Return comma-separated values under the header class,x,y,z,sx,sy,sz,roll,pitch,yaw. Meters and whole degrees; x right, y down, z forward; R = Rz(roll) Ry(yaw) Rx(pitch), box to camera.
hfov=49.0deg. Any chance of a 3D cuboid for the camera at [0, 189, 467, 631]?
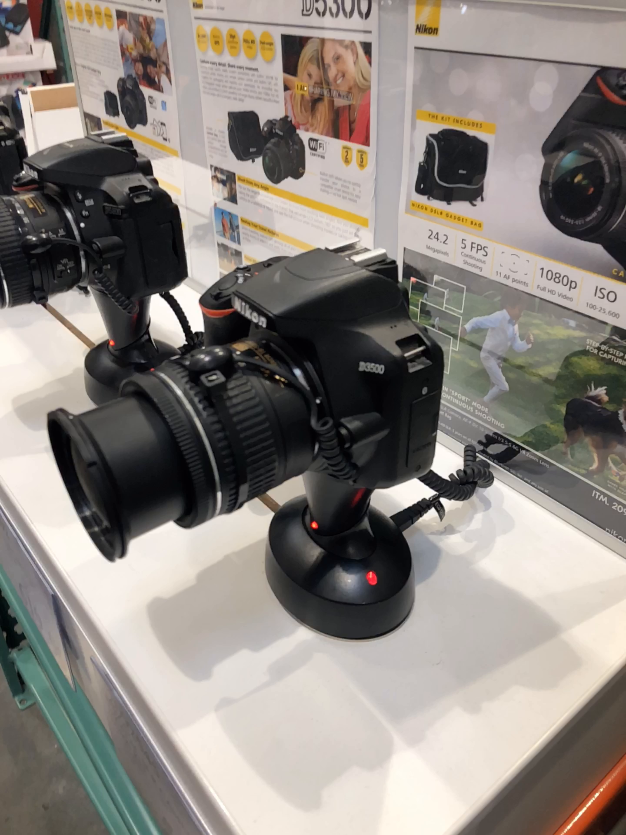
class,x,y,z,sx,sy,sz,roll,pitch,yaw
camera,-0.040,-0.020,0.280,0.140,0.089,0.131,-24,41,-31
